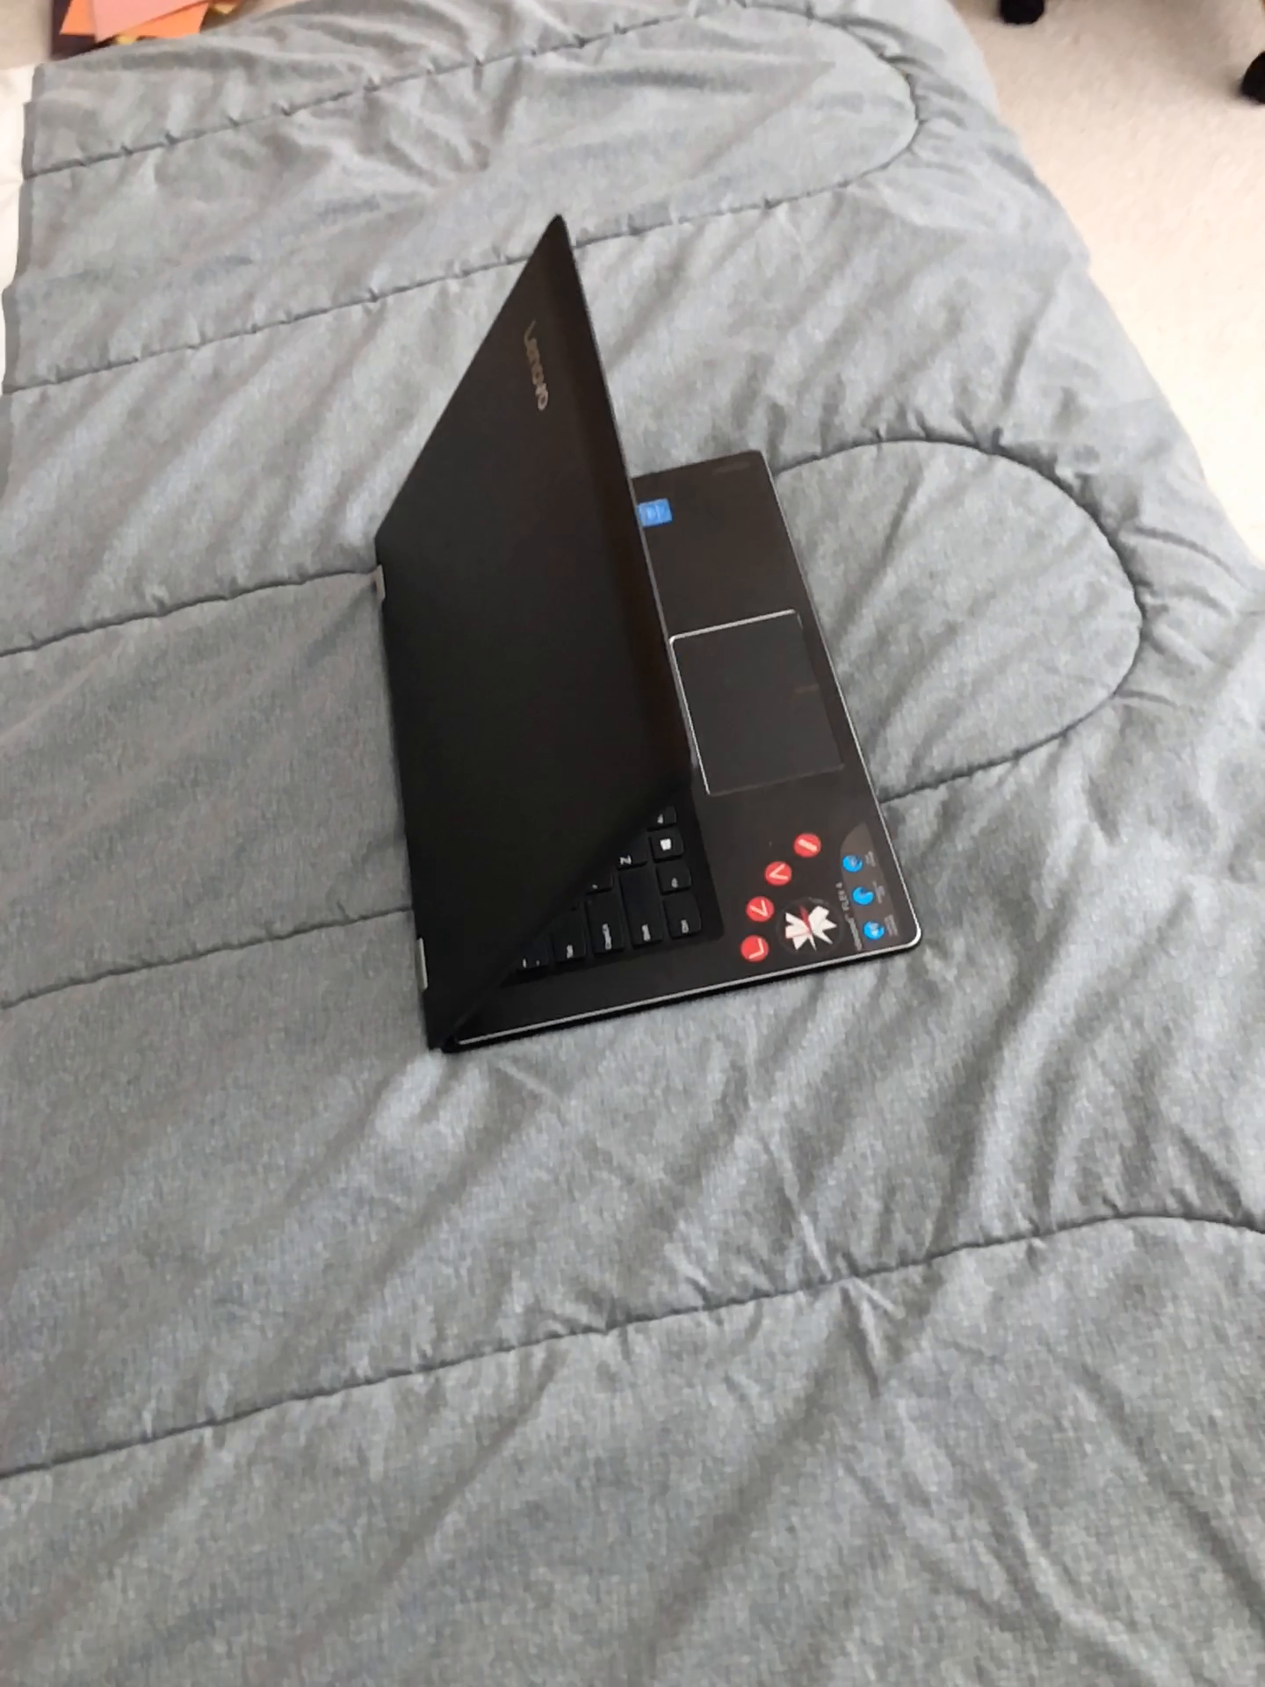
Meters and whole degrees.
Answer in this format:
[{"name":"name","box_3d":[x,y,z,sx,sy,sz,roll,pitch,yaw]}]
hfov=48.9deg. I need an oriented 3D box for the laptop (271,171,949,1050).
[{"name":"laptop","box_3d":[-0.020,-0.103,0.608,0.214,0.168,0.305,-13,58,1]}]
